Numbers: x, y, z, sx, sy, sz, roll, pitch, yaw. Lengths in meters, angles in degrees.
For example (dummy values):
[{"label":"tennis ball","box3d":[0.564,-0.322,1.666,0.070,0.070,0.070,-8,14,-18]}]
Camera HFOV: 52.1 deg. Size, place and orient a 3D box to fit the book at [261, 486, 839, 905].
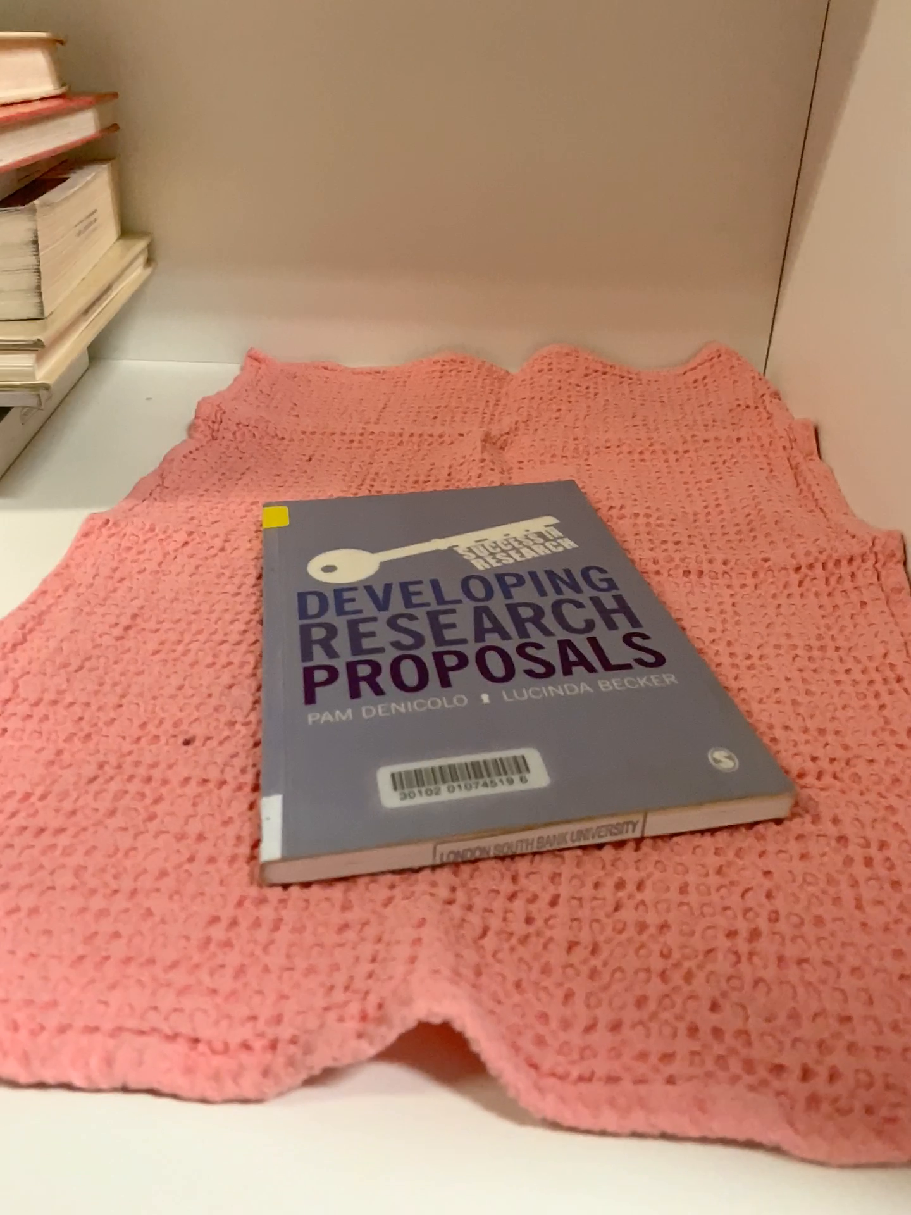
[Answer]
[{"label":"book","box3d":[0.010,0.010,0.362,0.165,0.015,0.232,-5,31,-9]}]
